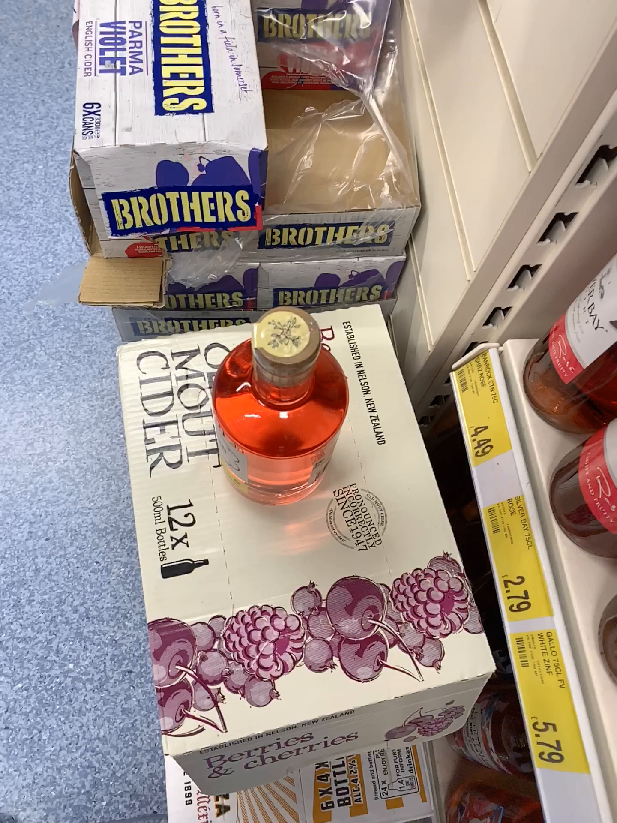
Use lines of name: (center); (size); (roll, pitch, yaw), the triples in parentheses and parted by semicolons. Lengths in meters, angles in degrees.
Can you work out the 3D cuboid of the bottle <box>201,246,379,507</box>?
bottle: (-0.017, -0.007, 0.364); (0.076, 0.176, 0.078); (2, 66, -5)
